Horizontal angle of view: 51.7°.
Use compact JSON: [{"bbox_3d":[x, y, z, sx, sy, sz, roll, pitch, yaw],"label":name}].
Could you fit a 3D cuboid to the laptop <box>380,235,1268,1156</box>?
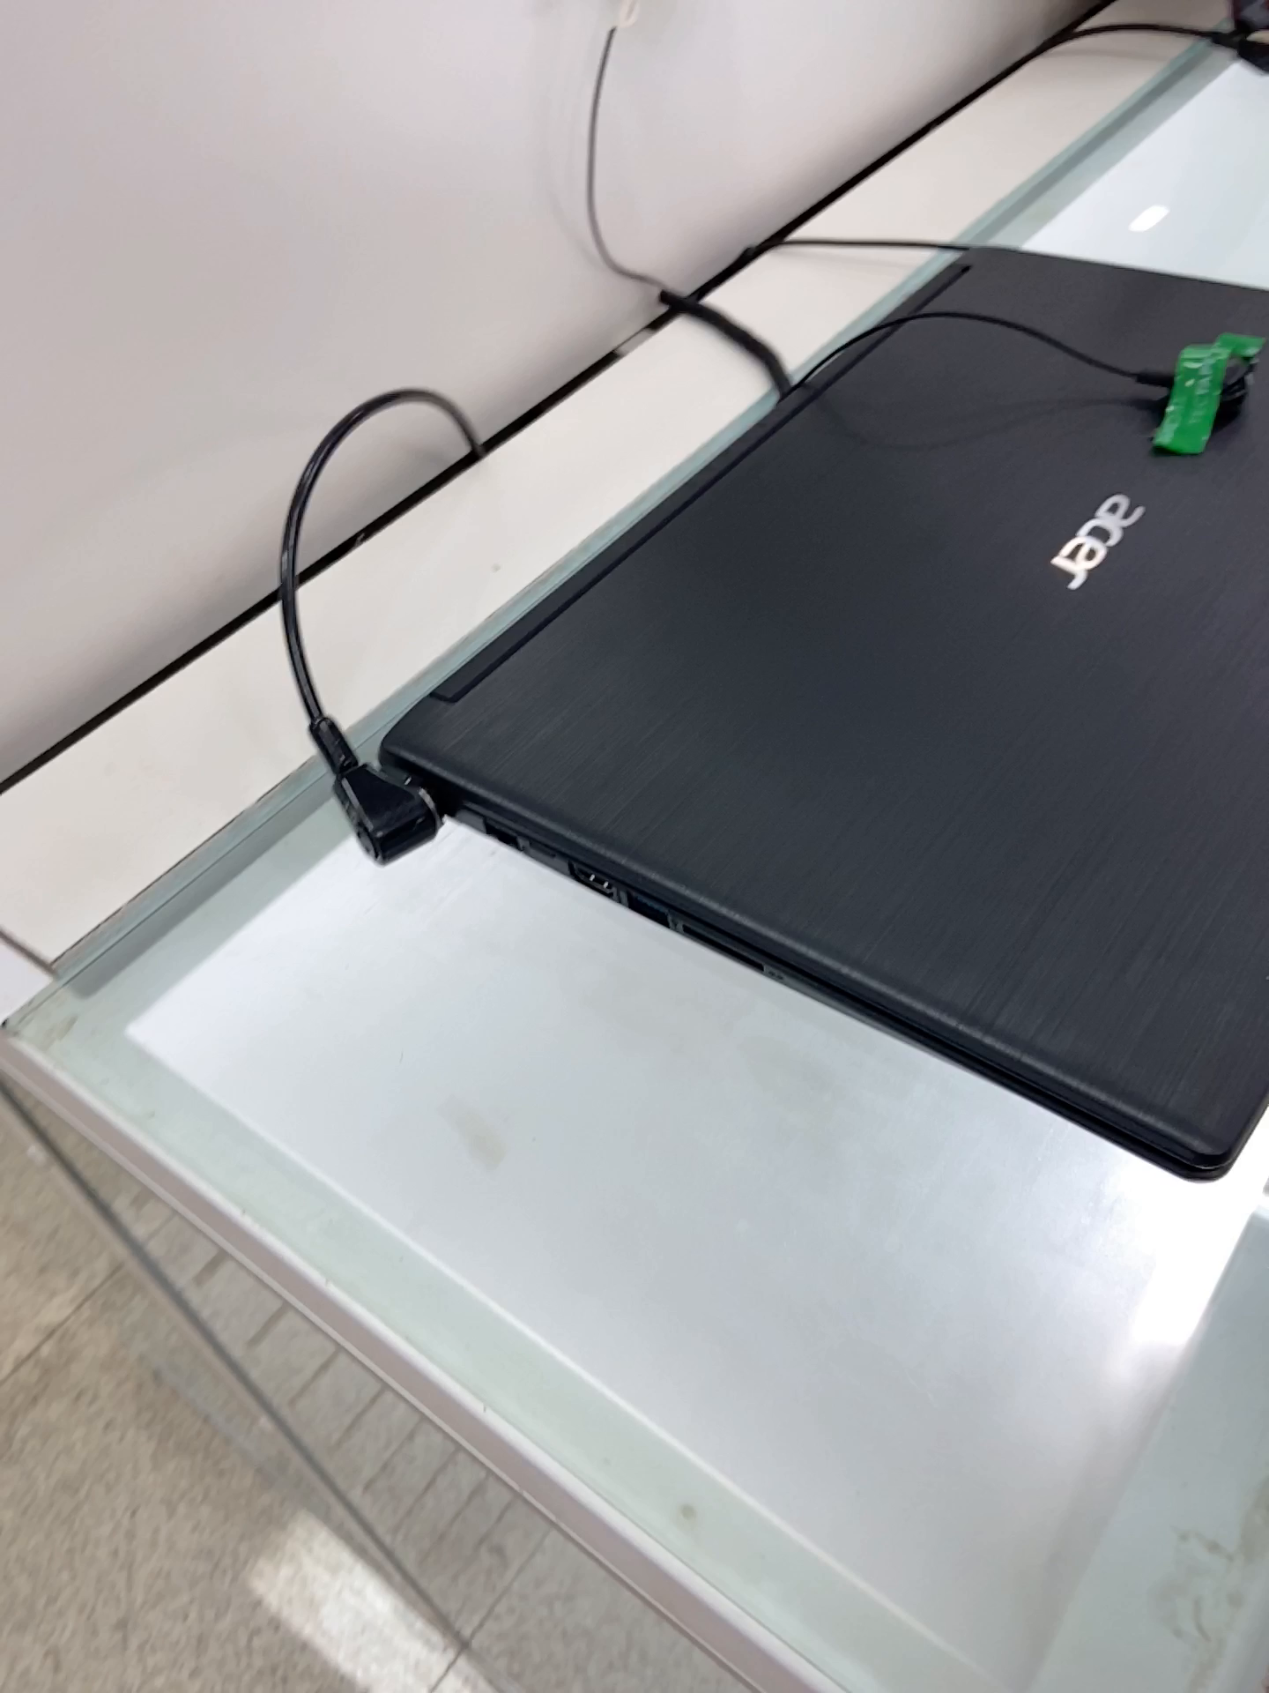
[{"bbox_3d":[0.138,-0.105,0.423,0.247,0.001,0.388,25,55,29],"label":"laptop"}]
